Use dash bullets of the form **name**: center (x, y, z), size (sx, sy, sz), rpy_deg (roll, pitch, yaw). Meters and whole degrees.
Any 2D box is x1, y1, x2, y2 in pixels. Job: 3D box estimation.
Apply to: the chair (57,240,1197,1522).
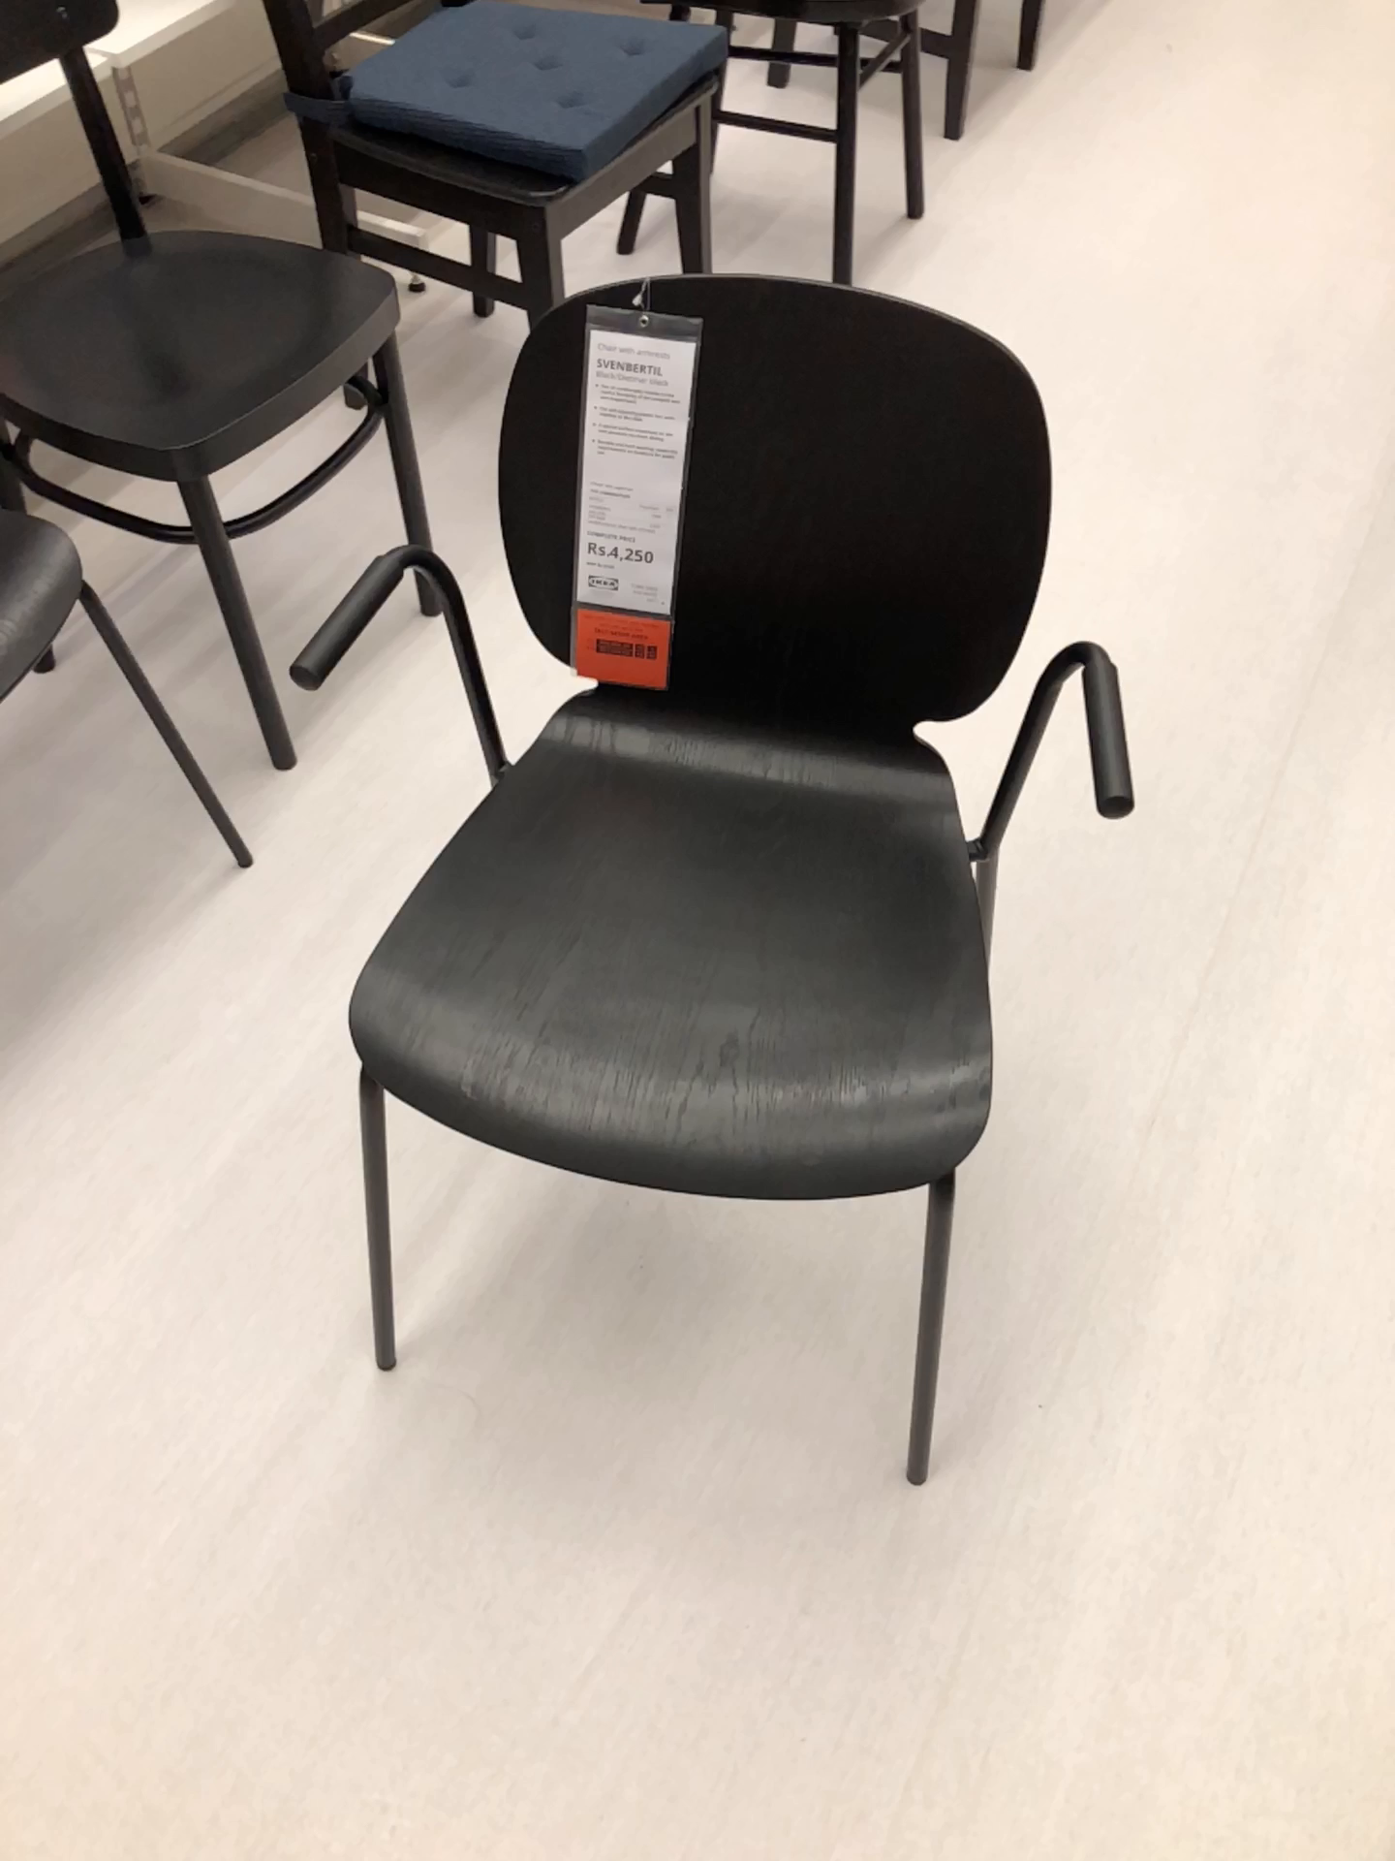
- **chair**: center (0.010, -0.018, 1.164), size (0.530, 0.686, 0.583), rpy_deg (11, 52, 9)
